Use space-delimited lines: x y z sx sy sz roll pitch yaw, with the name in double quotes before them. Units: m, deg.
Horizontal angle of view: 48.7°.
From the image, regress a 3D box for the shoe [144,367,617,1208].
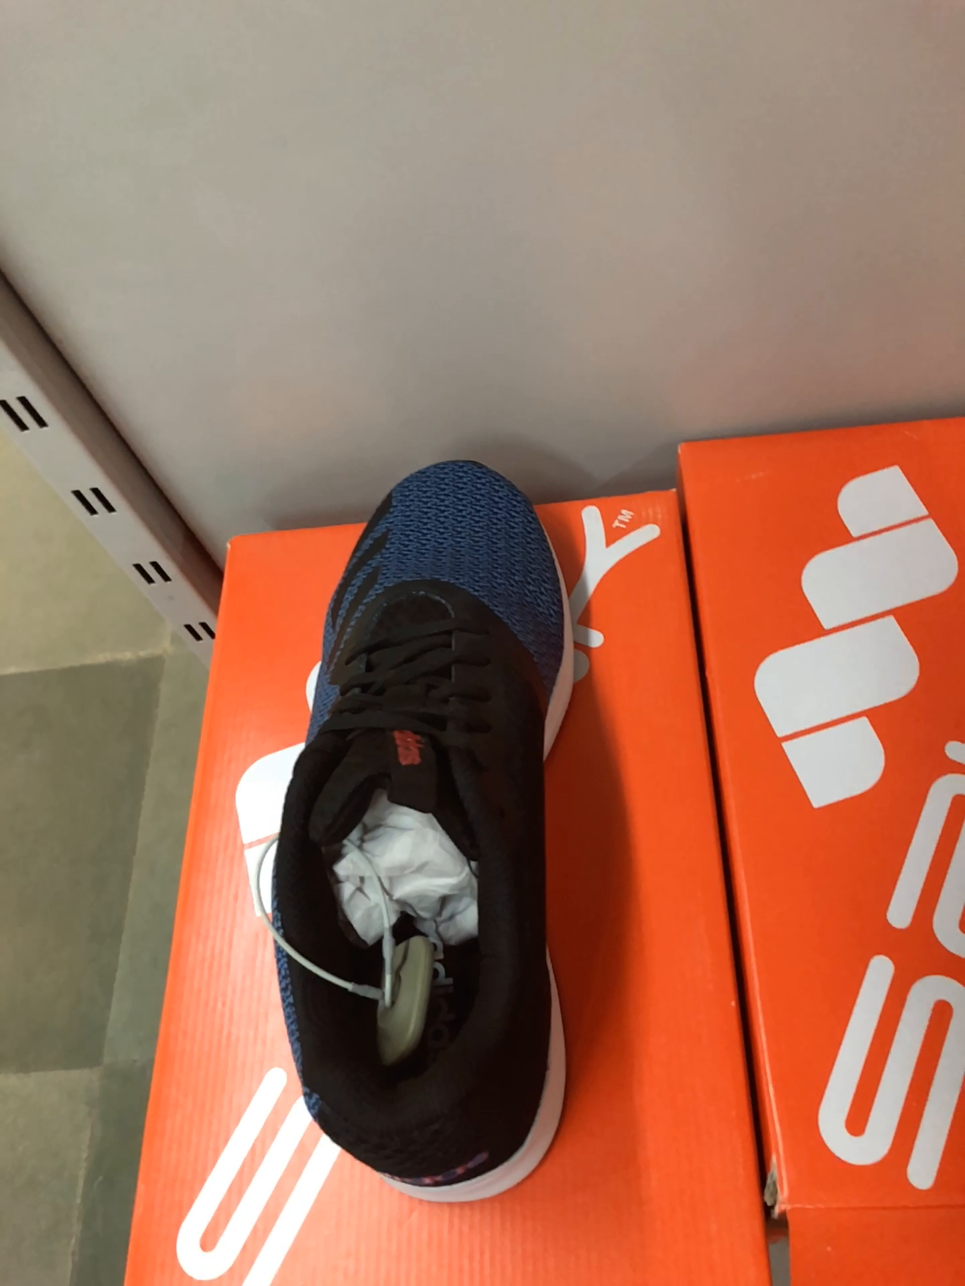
"shoe" -0.021 0.051 0.376 0.105 0.136 0.254 -7 59 9
